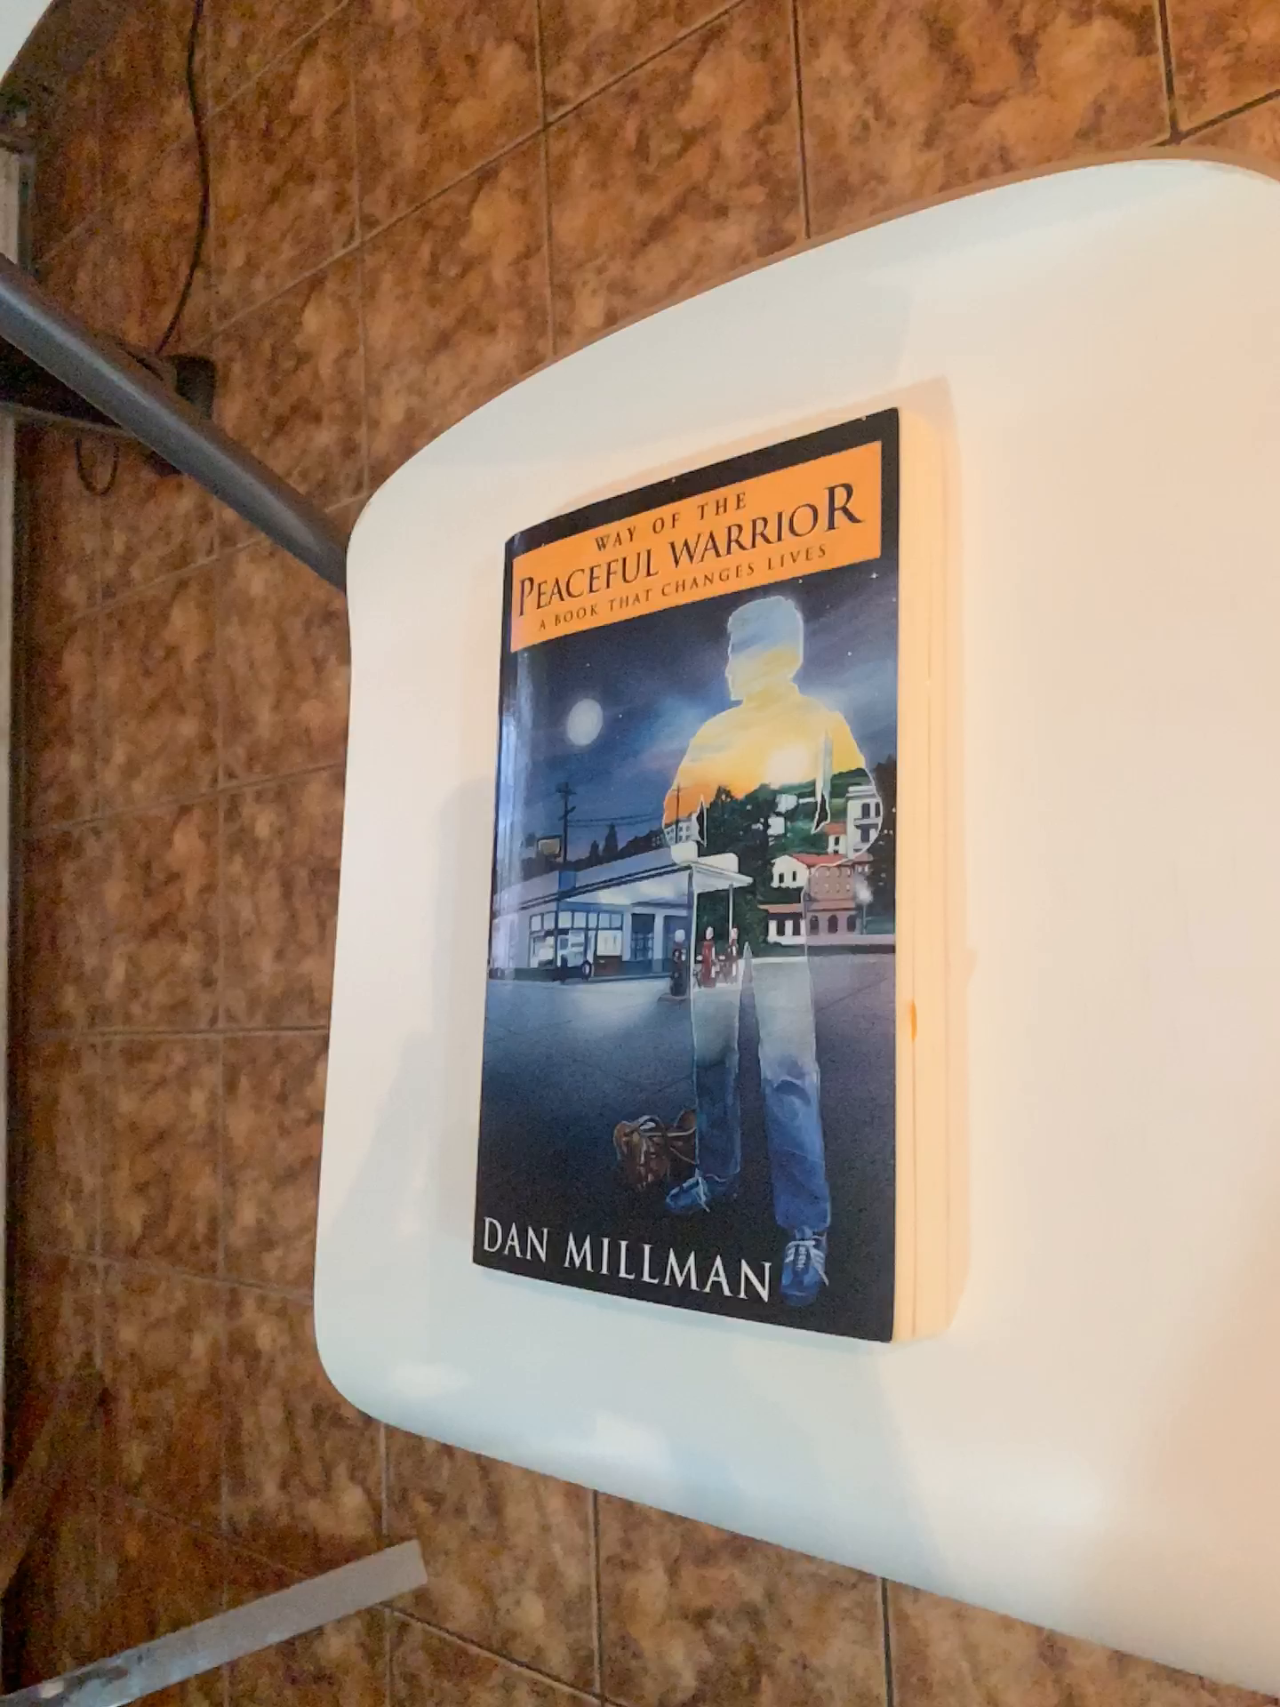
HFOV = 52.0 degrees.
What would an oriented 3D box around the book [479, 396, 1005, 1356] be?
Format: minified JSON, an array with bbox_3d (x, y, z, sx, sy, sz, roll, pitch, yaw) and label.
[{"bbox_3d":[0.019,0.008,0.349,0.141,0.039,0.210,-5,83,42],"label":"book"}]
